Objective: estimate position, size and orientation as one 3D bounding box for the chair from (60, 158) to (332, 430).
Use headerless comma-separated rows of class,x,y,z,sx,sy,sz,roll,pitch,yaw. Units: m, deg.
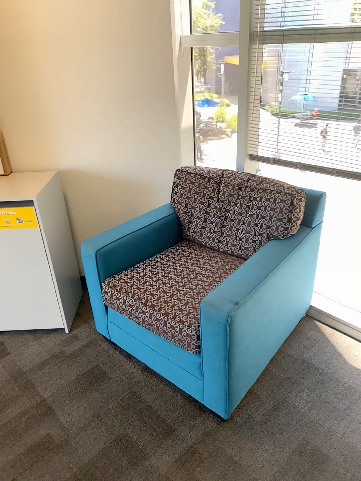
chair,0.103,0.138,1.942,0.934,0.805,0.912,20,36,36
